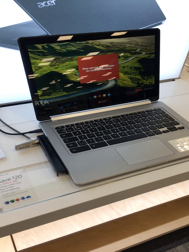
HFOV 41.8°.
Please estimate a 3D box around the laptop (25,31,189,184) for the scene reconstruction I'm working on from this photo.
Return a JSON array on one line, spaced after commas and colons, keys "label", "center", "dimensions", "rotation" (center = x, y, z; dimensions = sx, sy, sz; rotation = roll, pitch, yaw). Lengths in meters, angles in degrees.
[{"label": "laptop", "center": [0.073, -0.066, 0.552], "dimensions": [0.347, 0.190, 0.283], "rotation": [-14, 45, -20]}]
